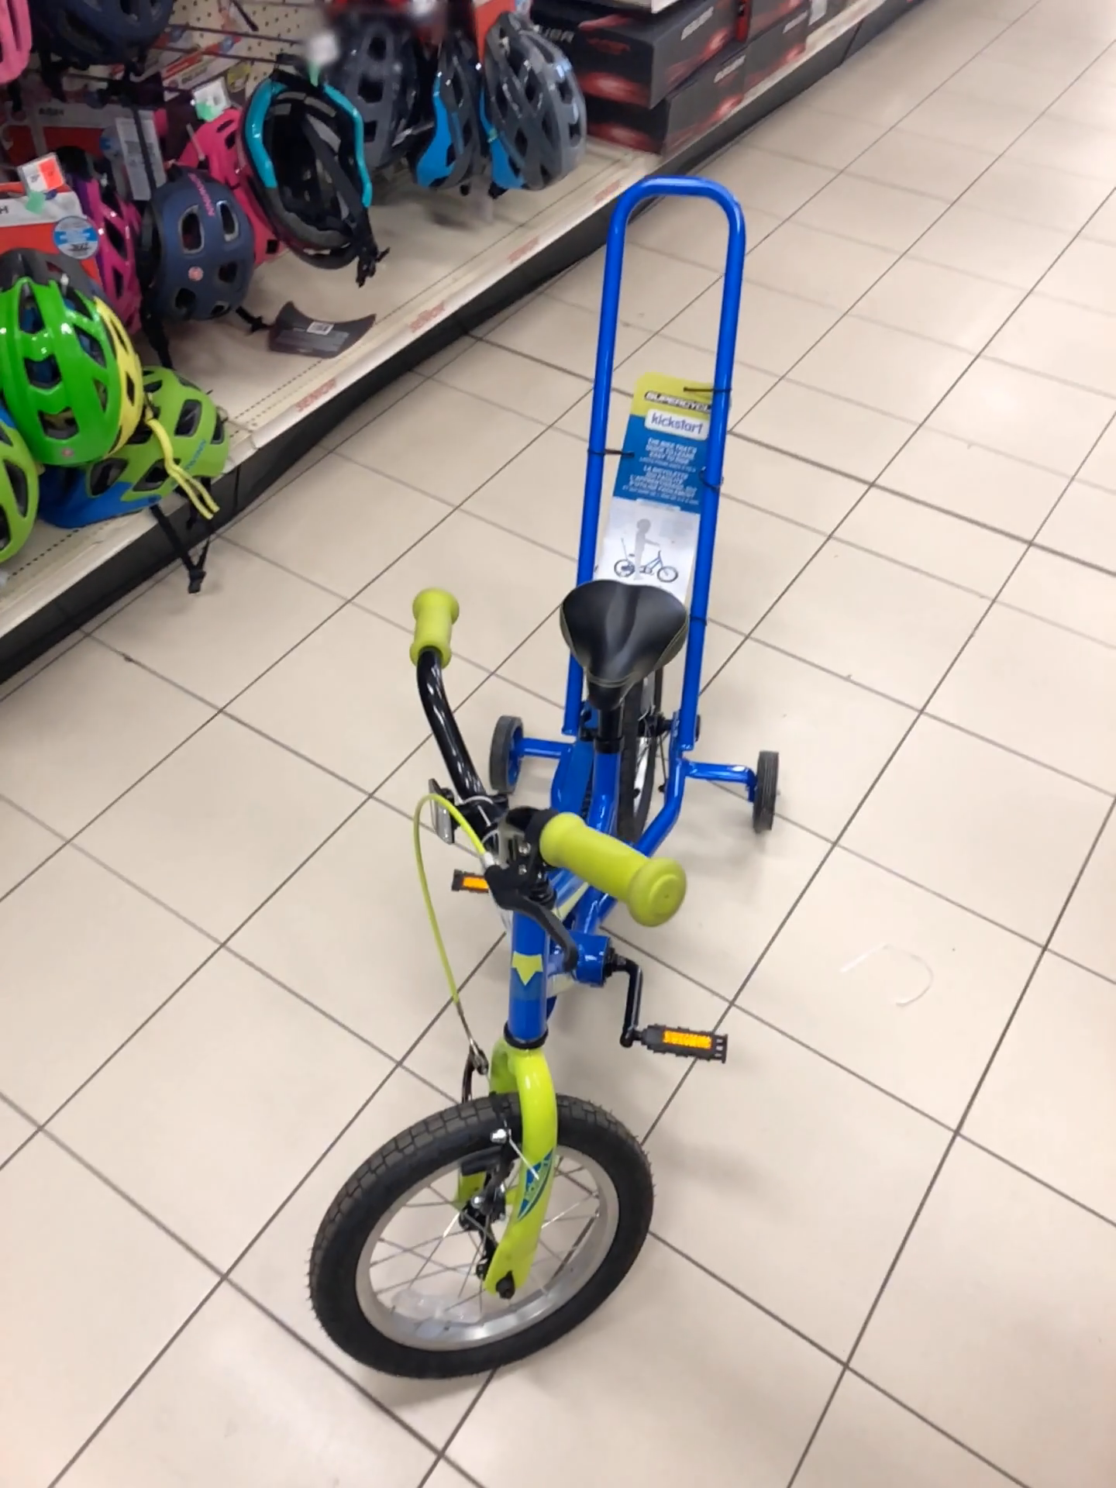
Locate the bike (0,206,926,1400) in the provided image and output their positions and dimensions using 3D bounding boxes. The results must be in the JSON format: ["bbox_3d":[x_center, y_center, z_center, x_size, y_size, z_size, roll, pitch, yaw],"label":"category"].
[{"bbox_3d":[-0.075,0.029,1.270,0.538,0.763,0.957,17,49,14],"label":"bike"}]
